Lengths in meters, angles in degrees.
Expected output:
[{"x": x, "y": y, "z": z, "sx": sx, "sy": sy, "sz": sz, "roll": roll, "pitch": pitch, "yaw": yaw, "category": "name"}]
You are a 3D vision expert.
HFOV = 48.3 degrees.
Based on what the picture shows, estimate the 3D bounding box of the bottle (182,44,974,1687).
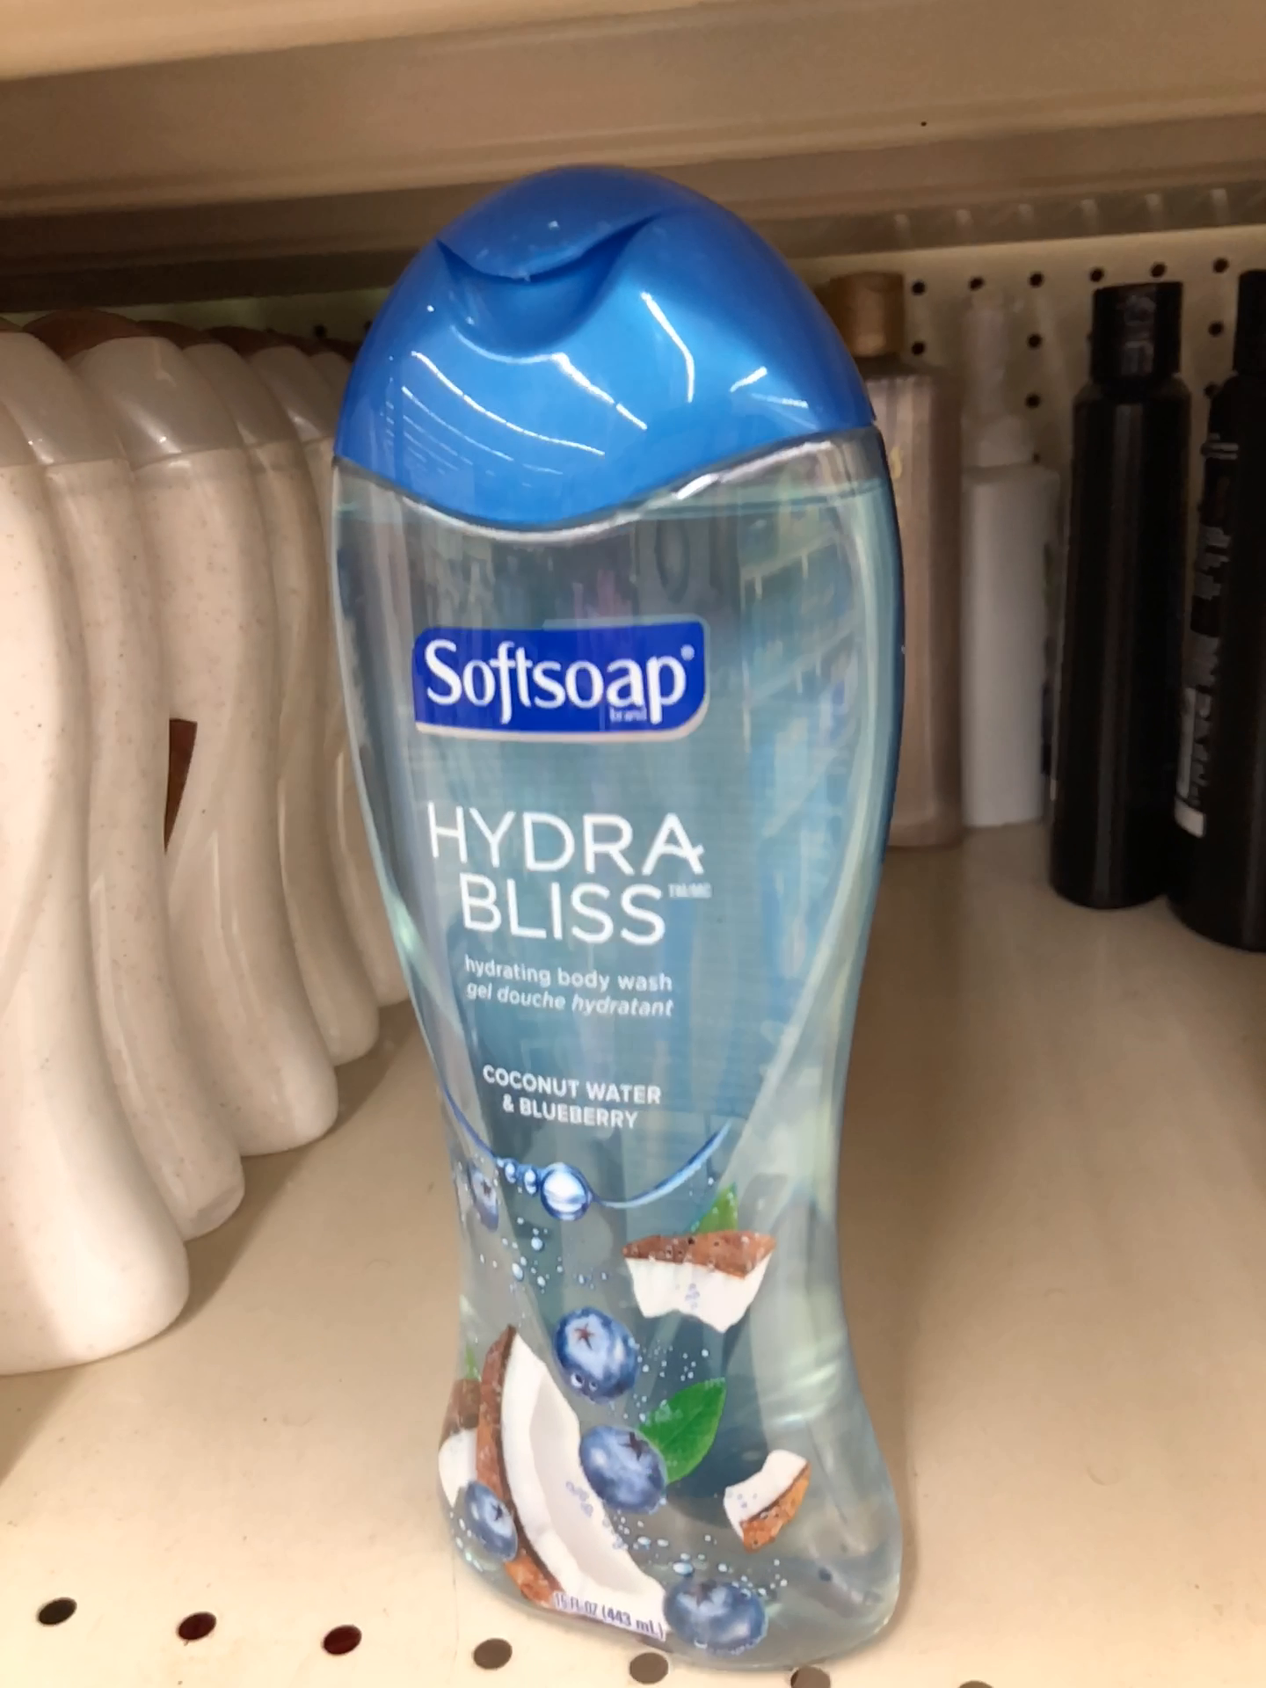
[{"x": 0.002, "y": 0.015, "z": 0.201, "sx": 0.080, "sy": 0.211, "sz": 0.051, "roll": 4, "pitch": 20, "yaw": 20, "category": "bottle"}]
